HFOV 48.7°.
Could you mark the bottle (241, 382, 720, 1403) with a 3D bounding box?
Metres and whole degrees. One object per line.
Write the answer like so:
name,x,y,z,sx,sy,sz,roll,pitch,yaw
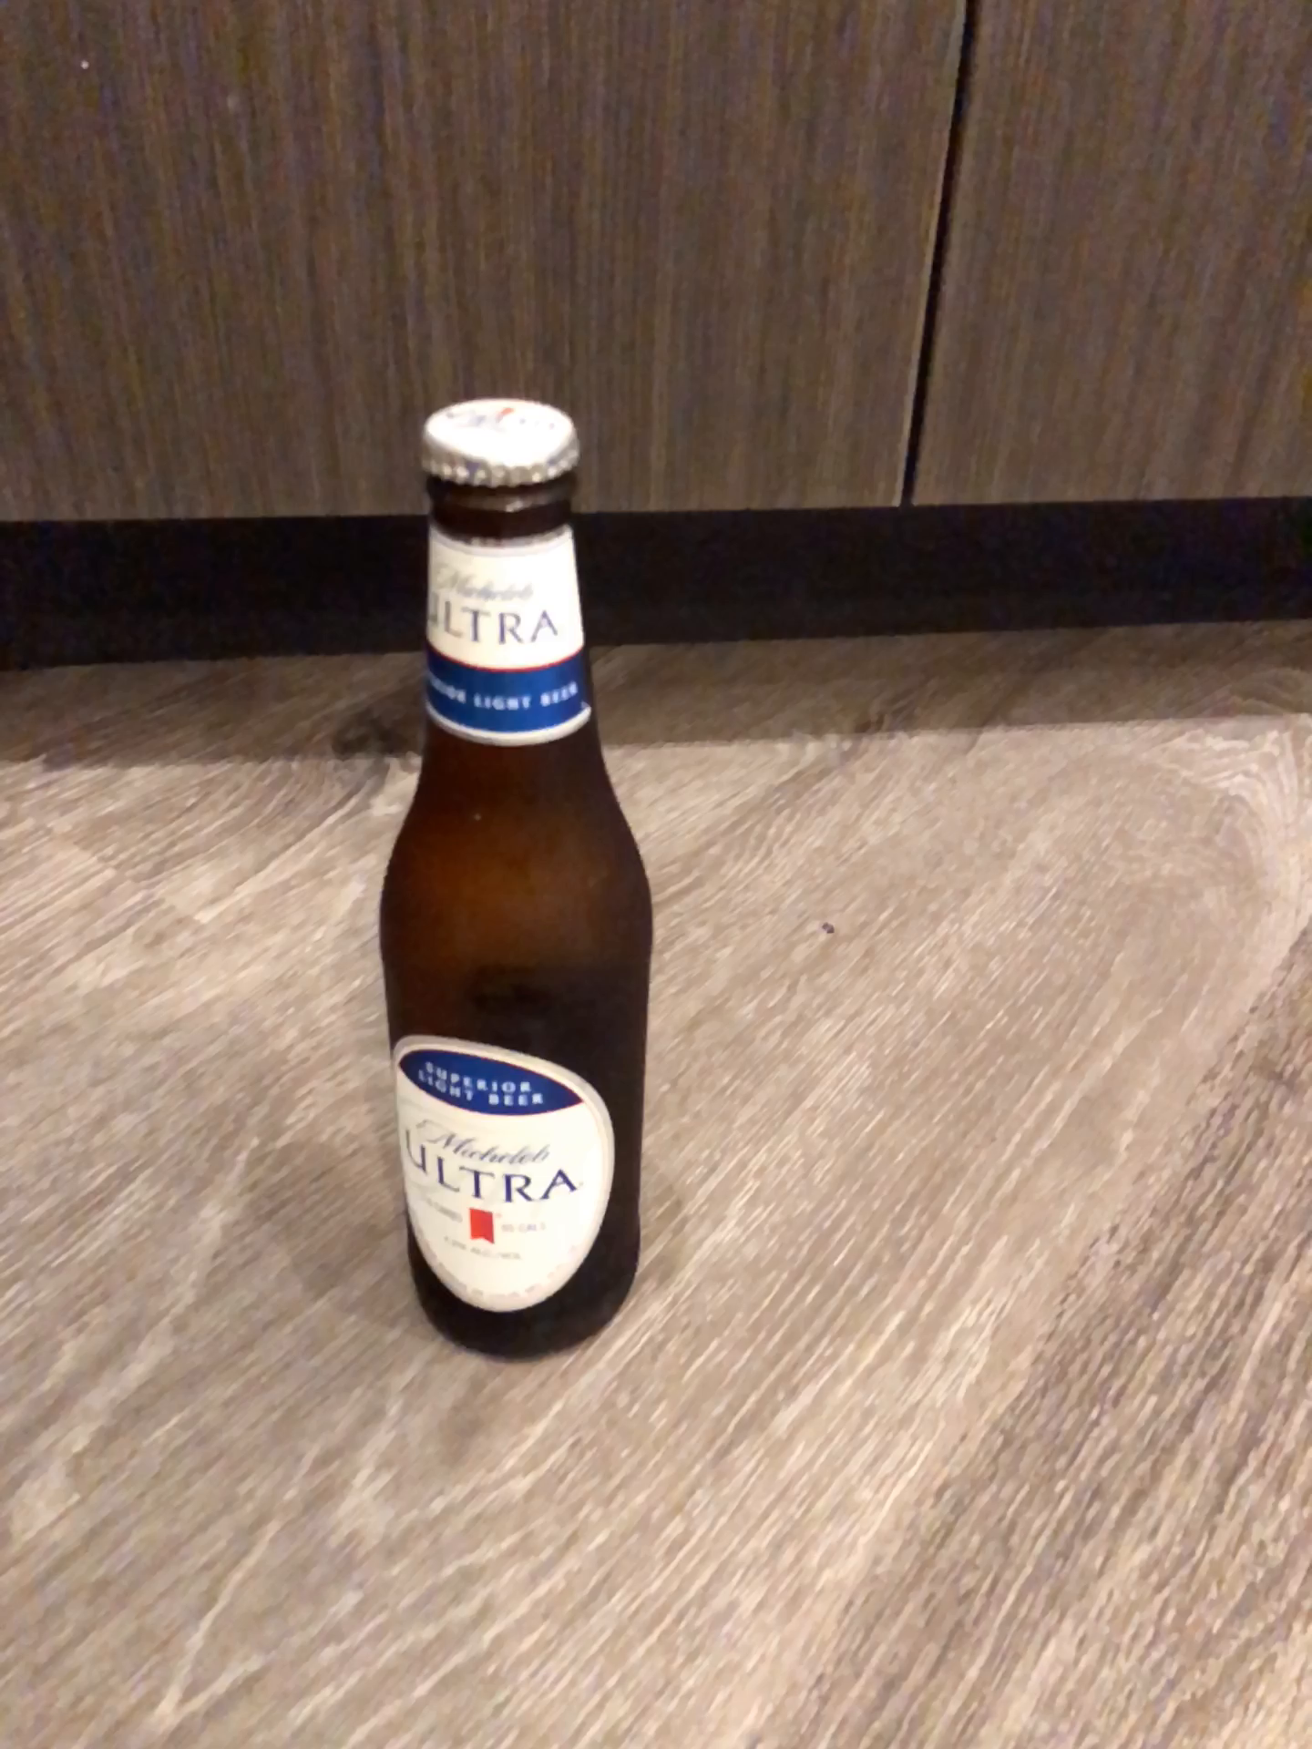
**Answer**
bottle,-0.030,0.014,0.307,0.060,0.209,0.060,1,35,-1
